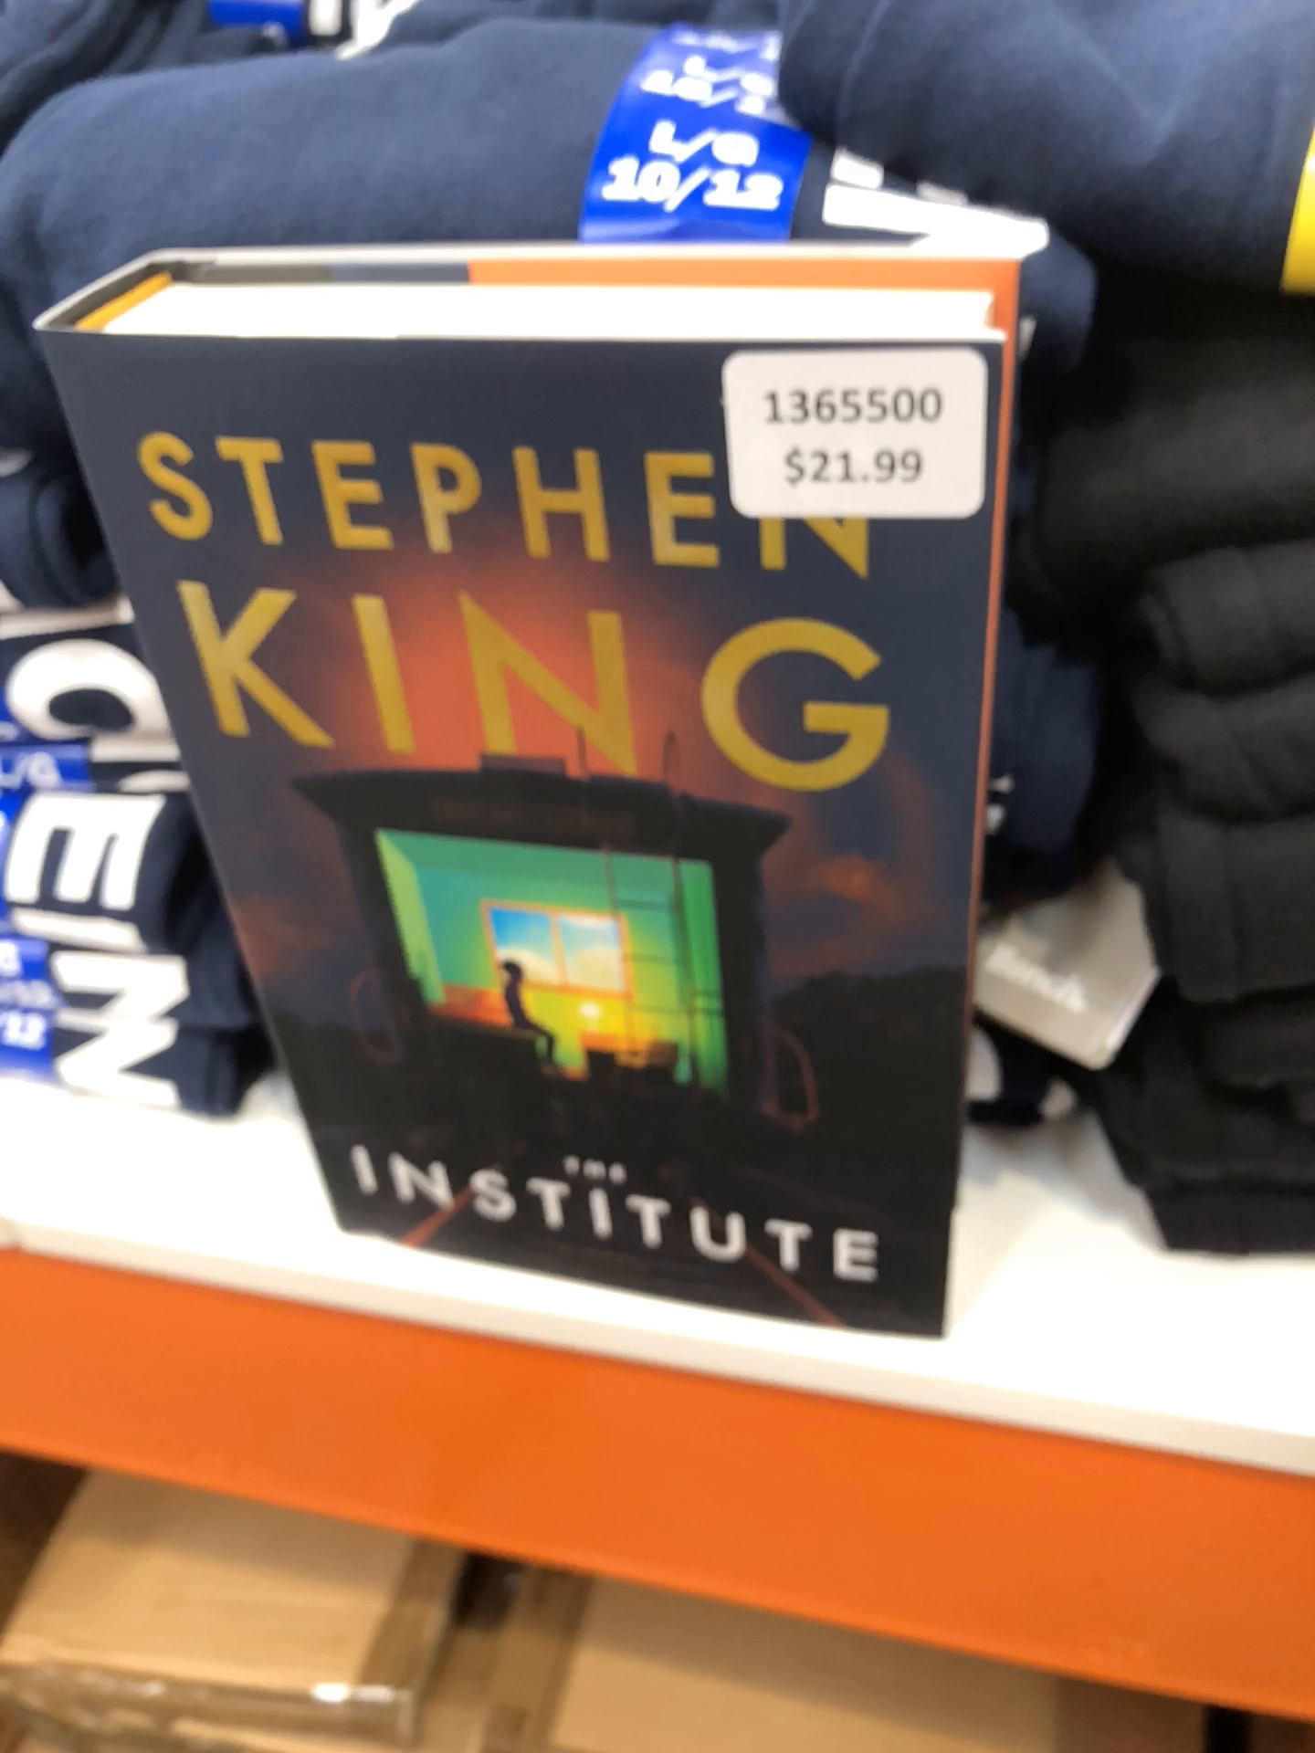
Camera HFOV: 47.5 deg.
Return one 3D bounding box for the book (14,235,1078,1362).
[{"bbox_3d":[-0.010,-0.005,0.311,0.167,0.229,0.050,6,38,15],"label":"book"}]
